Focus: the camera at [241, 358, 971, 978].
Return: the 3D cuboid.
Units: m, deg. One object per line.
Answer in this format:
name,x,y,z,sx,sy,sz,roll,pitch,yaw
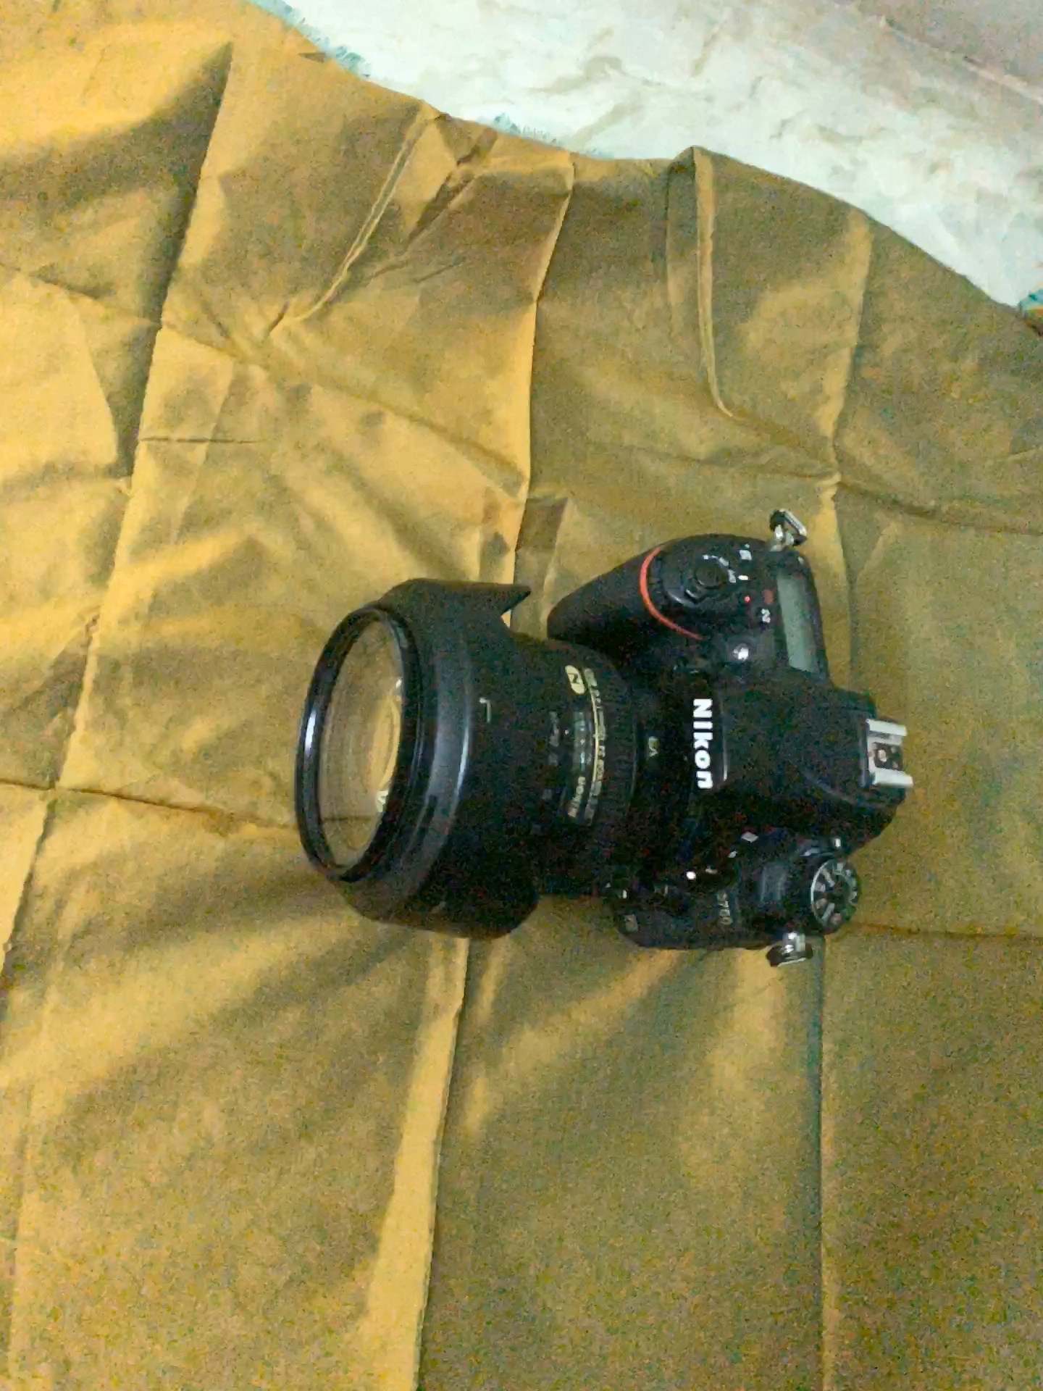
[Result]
camera,0.029,0.010,0.338,0.193,0.100,0.140,12,70,-28
